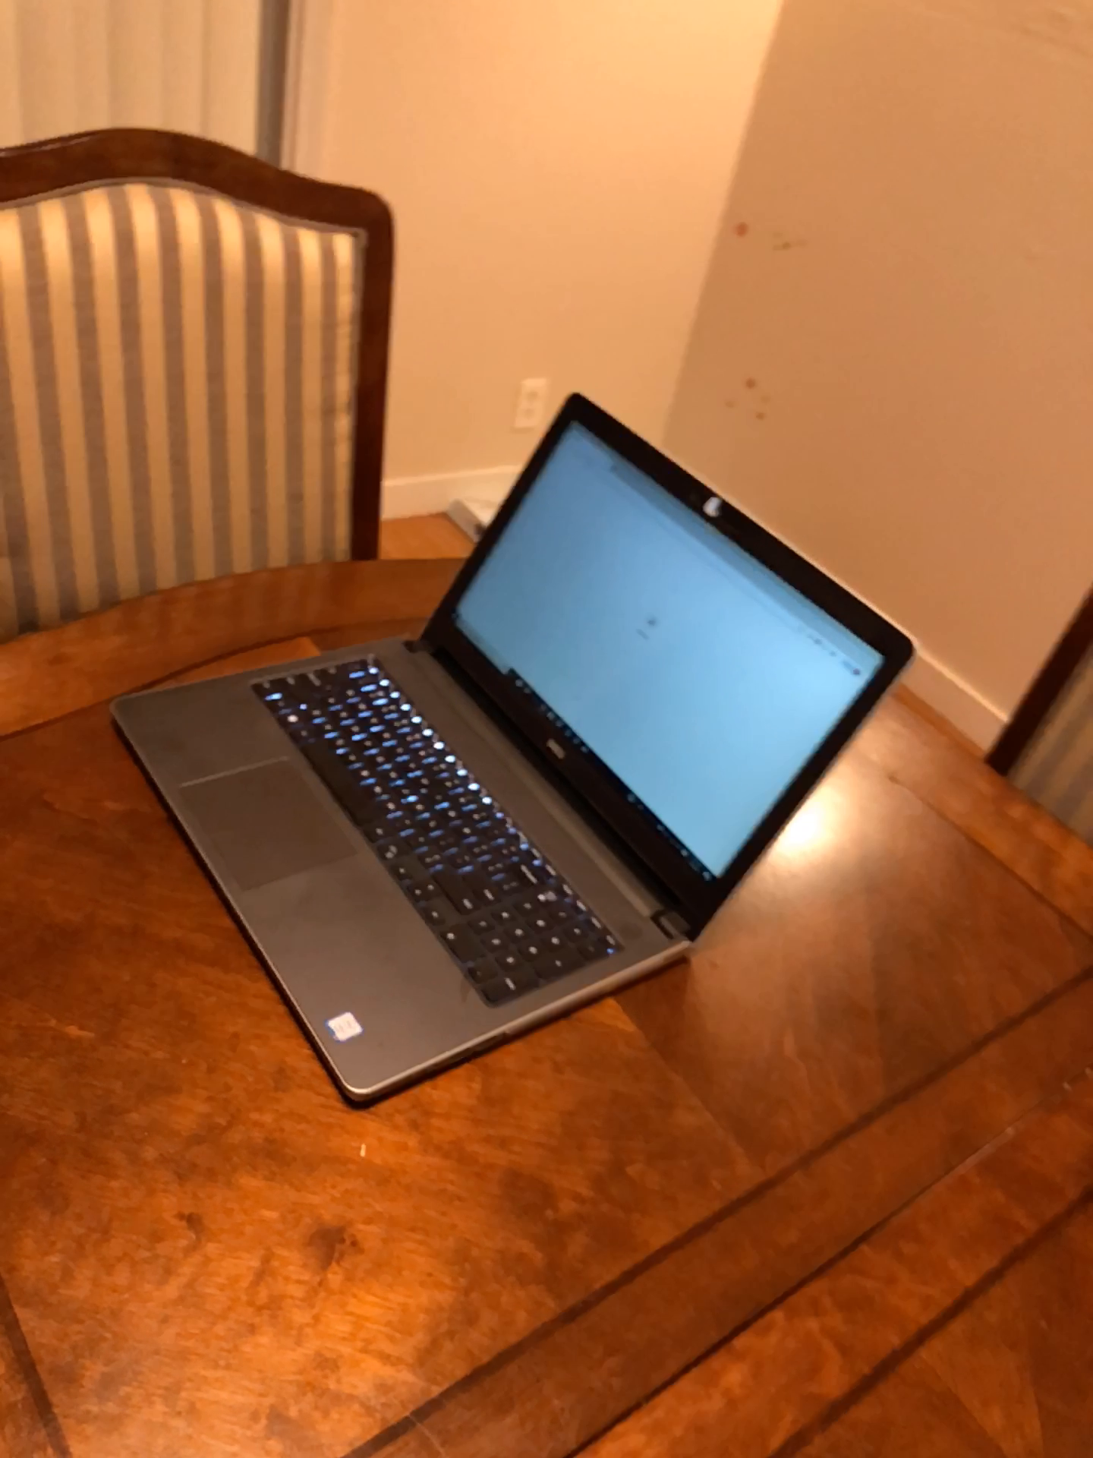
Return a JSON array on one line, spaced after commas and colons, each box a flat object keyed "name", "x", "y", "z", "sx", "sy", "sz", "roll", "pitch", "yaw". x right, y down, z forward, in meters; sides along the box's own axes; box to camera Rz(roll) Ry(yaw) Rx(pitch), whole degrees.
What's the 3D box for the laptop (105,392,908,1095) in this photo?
[{"name": "laptop", "x": -0.048, "y": -0.033, "z": 0.806, "sx": 0.360, "sy": 0.212, "sz": 0.371, "roll": -15, "pitch": 46, "yaw": -33}]
